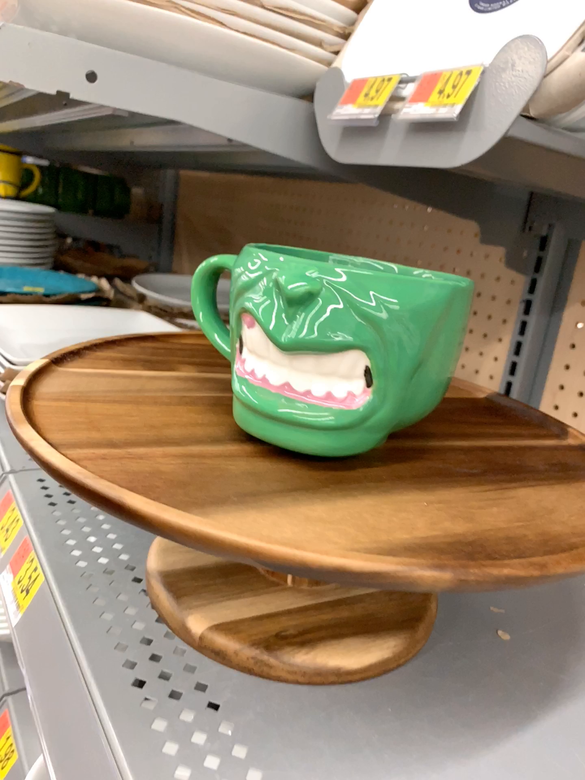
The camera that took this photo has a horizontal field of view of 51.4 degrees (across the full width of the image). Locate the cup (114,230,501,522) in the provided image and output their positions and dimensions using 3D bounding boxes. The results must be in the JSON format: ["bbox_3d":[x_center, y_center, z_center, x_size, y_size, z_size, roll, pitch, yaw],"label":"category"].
[{"bbox_3d":[0.012,-0.022,0.307,0.140,0.090,0.130,8,16,-2],"label":"cup"}]
